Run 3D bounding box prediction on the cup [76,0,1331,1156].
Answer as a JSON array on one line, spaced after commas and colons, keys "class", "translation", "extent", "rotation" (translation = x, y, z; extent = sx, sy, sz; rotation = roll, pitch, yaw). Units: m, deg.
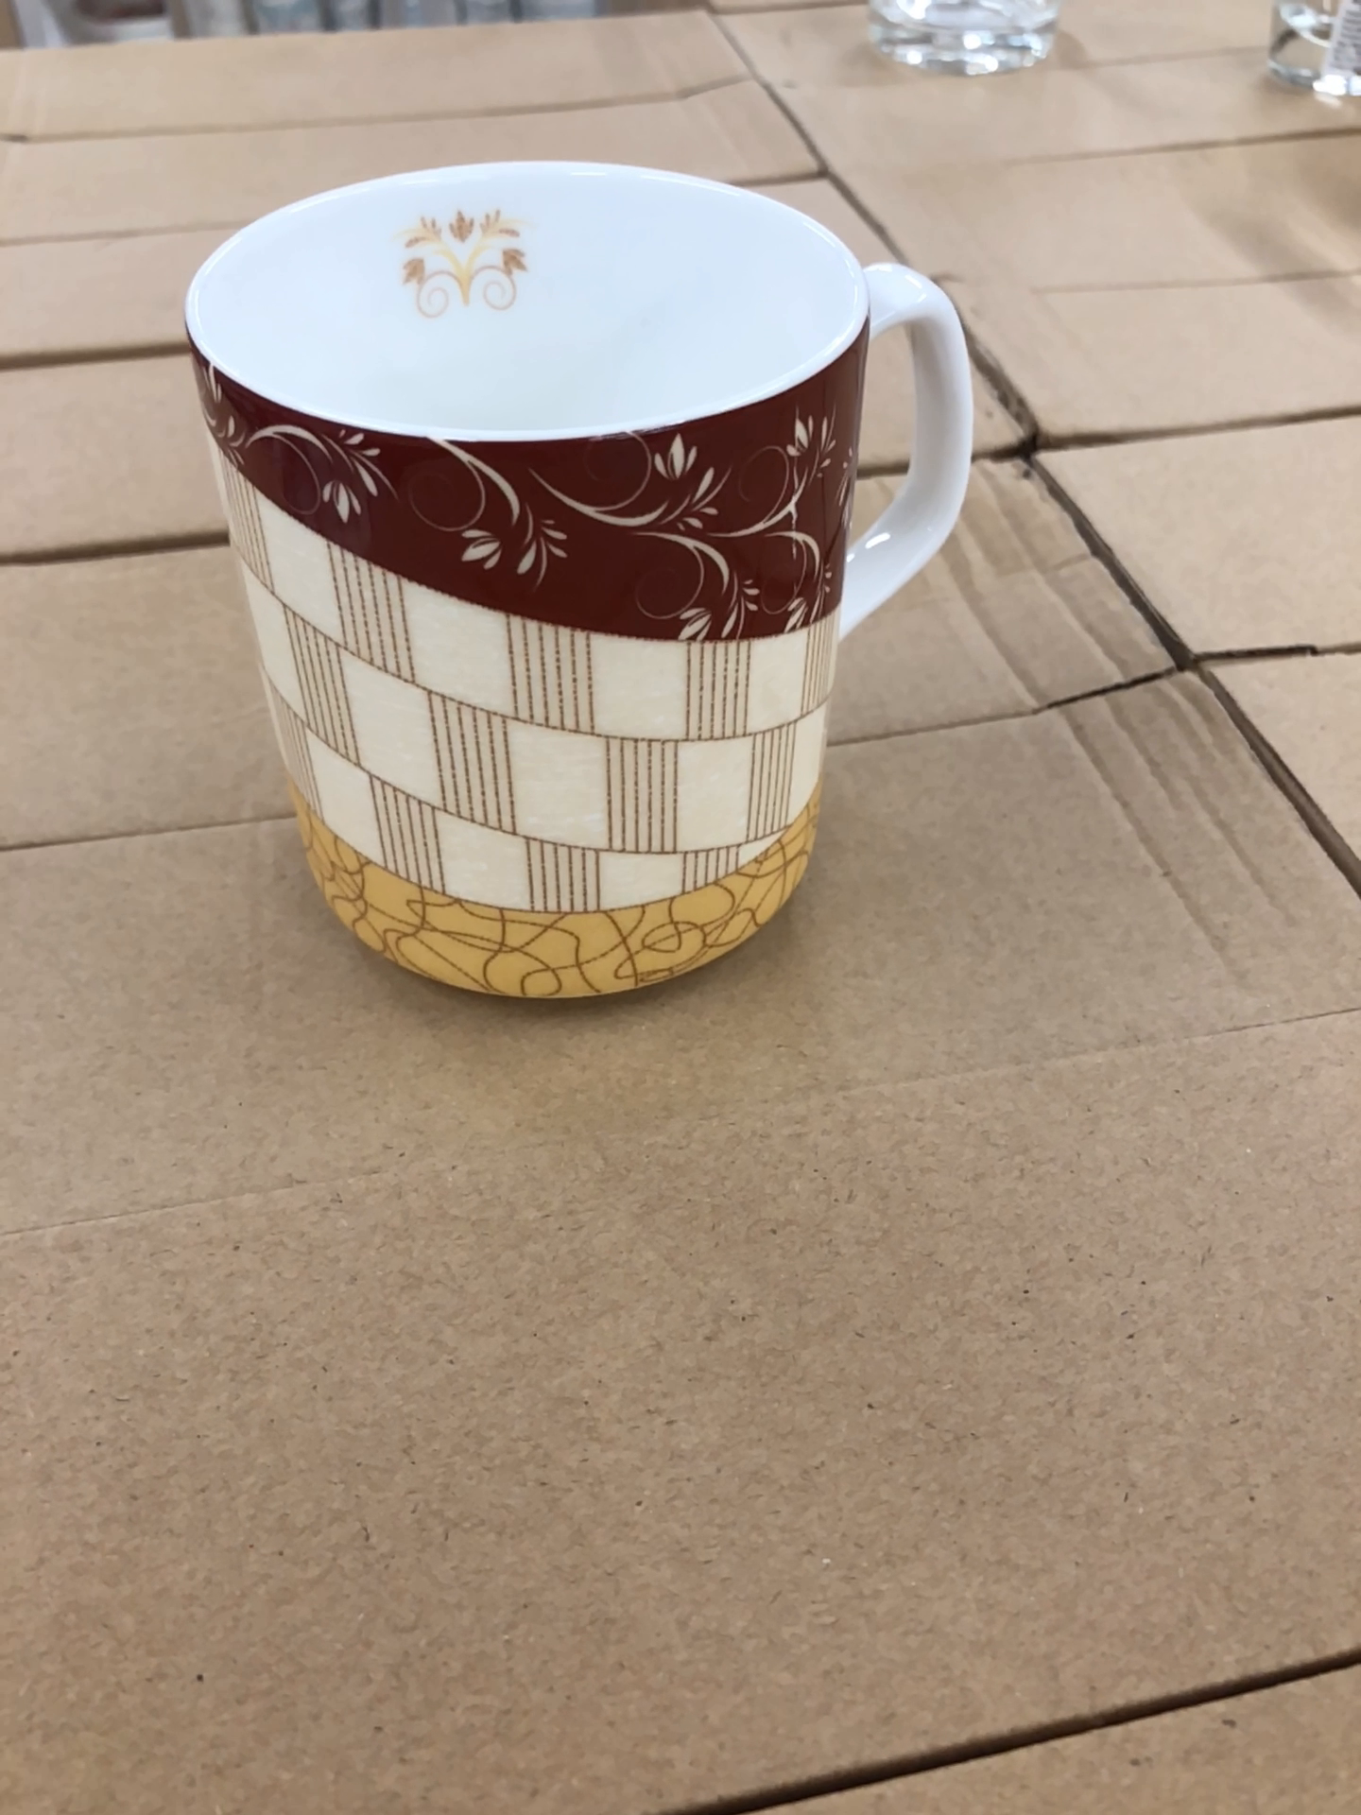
[{"class": "cup", "translation": [0.004, -0.044, 0.176], "extent": [0.100, 0.080, 0.070], "rotation": [-30, 52, -27]}]
